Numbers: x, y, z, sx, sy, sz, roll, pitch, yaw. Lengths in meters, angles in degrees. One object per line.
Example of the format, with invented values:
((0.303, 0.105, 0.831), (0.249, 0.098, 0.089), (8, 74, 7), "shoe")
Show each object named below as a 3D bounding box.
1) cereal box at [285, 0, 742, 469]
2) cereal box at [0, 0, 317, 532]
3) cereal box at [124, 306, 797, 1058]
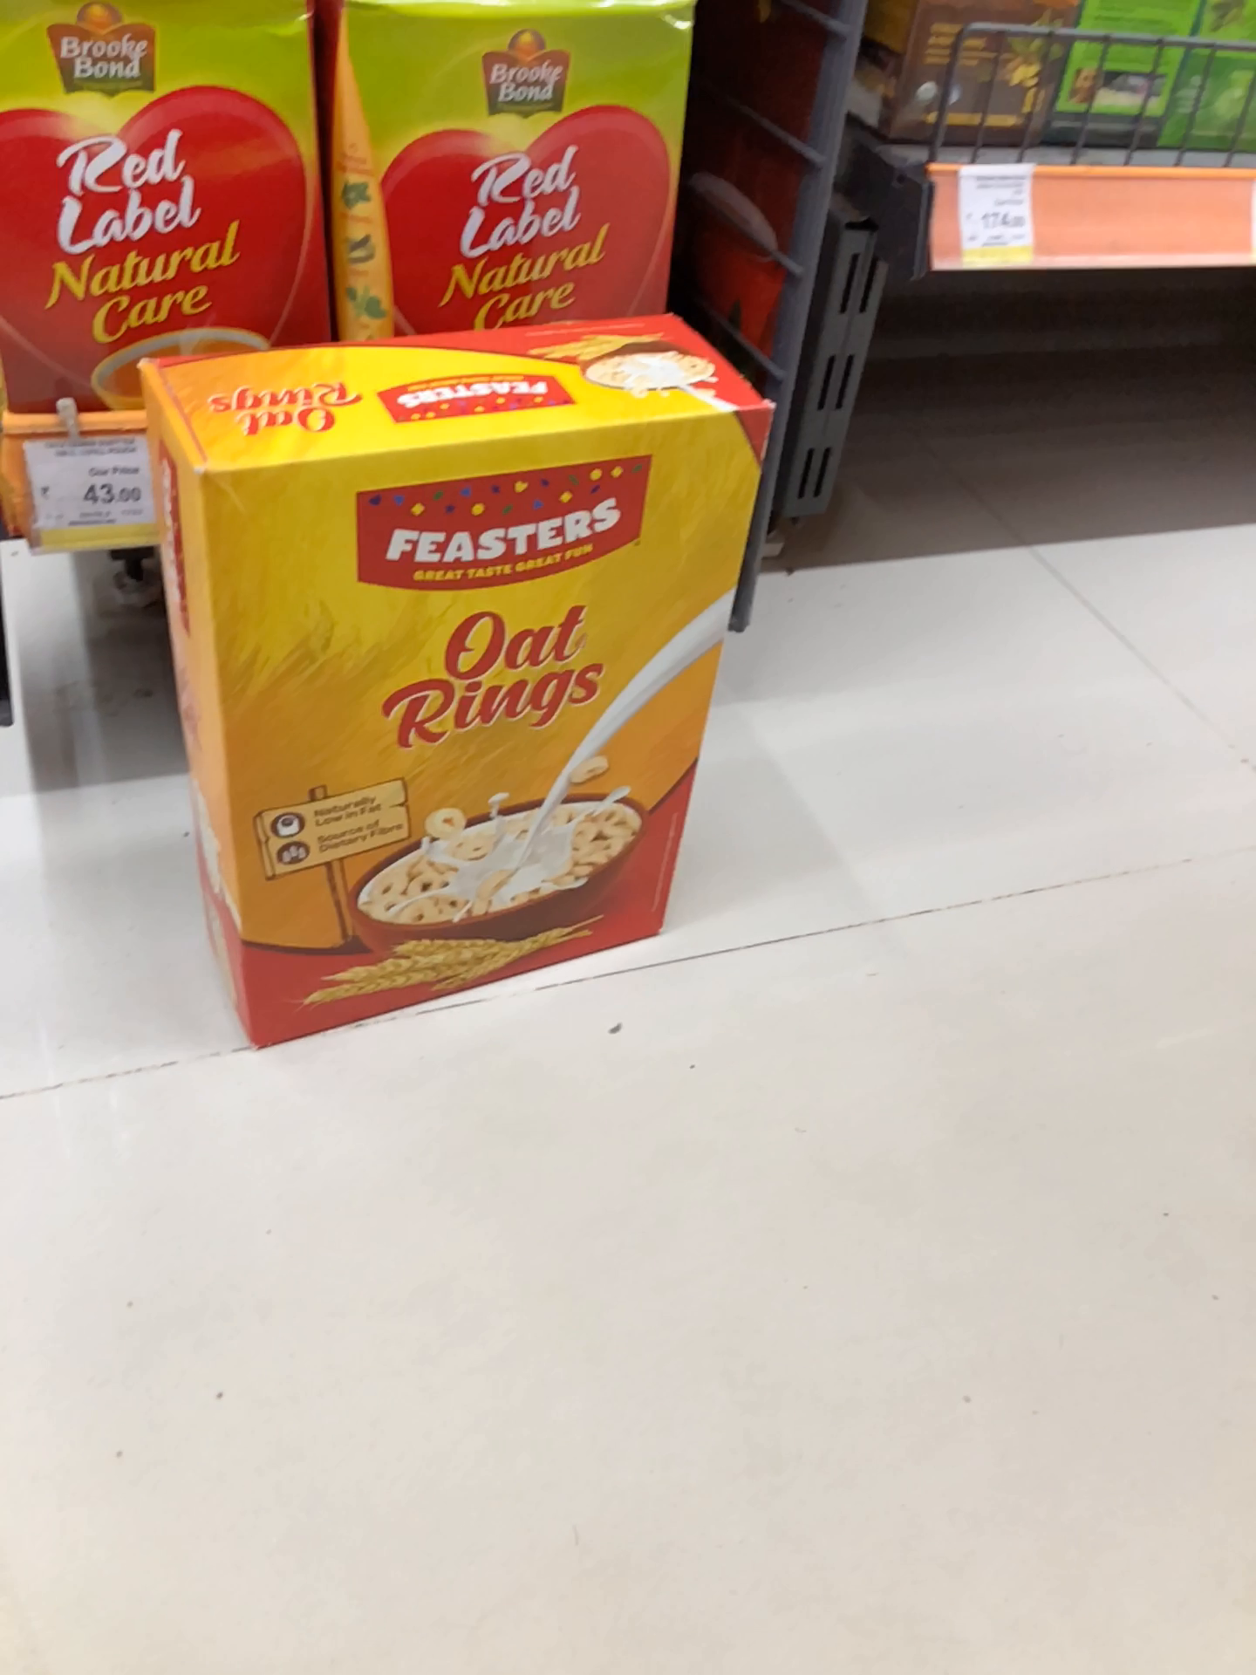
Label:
((-0.045, -0.222, 0.479), (0.120, 0.149, 0.080), (-14, 47, -24), "cereal box")
((-0.175, -0.202, 0.460), (0.120, 0.169, 0.080), (-11, 46, -21), "cereal box")
((-0.056, -0.046, 0.454), (0.171, 0.218, 0.070), (-14, 47, -24), "cereal box")
